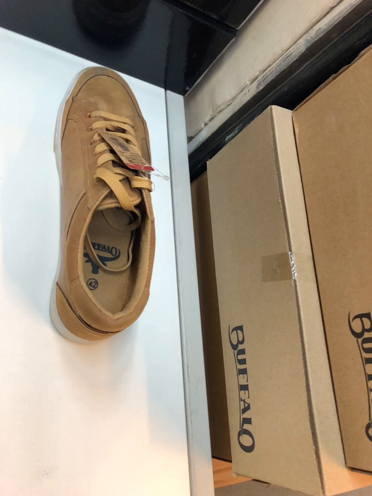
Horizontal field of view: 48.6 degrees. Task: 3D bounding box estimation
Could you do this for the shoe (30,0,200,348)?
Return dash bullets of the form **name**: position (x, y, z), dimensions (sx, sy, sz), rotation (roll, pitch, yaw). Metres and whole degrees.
- **shoe**: position (-0.063, -0.064, 0.381), dimensions (0.105, 0.104, 0.295), rotation (10, 69, -30)
